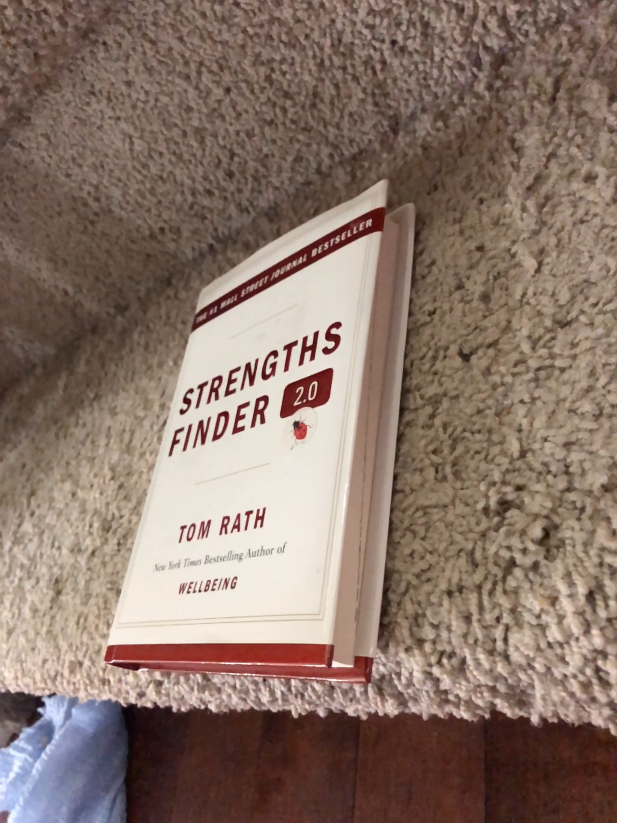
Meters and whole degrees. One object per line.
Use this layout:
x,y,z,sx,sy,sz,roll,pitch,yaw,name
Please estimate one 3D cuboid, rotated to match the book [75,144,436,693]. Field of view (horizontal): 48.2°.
-0.019,0.005,0.273,0.137,0.029,0.190,-19,52,42,book
